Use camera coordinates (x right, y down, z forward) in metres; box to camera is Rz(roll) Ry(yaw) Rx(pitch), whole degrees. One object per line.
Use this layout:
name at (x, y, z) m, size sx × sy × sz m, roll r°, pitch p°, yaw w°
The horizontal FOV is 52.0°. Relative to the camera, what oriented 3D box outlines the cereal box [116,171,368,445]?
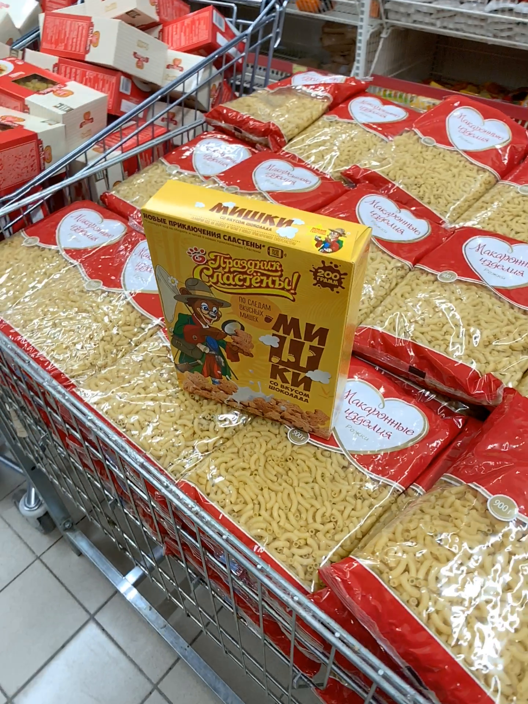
cereal box at (-0.013, -0.026, 0.458) m, size 0.170 × 0.218 × 0.050 m, roll 18°, pitch 53°, yaw 17°
